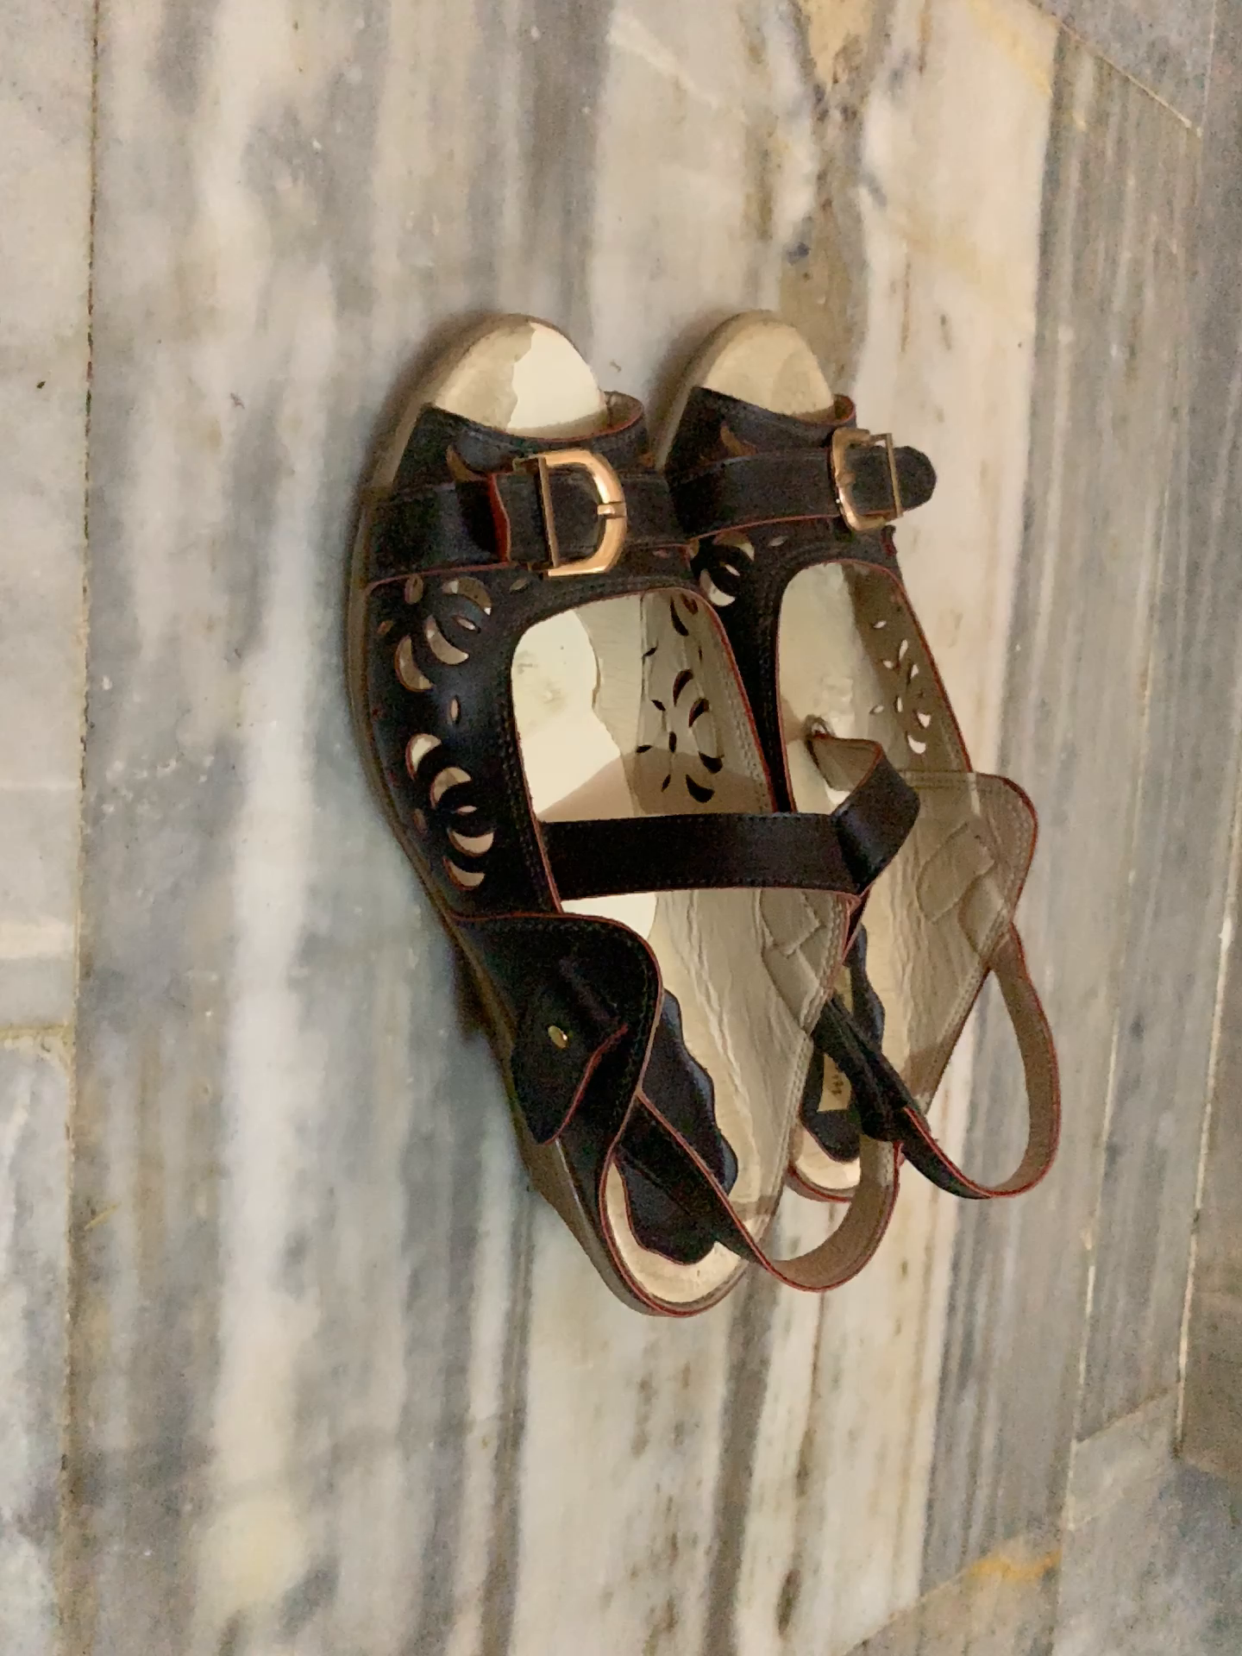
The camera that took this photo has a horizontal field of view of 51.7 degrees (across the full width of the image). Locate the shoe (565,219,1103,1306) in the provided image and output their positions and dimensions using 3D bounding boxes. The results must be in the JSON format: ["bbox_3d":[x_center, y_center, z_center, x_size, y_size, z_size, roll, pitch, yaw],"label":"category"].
[{"bbox_3d":[0.066,-0.019,0.370,0.100,0.100,0.261,-16,107,-39],"label":"shoe"}]

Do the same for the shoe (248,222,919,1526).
[{"bbox_3d":[-0.003,0.008,0.314,0.100,0.100,0.261,-16,107,-39],"label":"shoe"}]
